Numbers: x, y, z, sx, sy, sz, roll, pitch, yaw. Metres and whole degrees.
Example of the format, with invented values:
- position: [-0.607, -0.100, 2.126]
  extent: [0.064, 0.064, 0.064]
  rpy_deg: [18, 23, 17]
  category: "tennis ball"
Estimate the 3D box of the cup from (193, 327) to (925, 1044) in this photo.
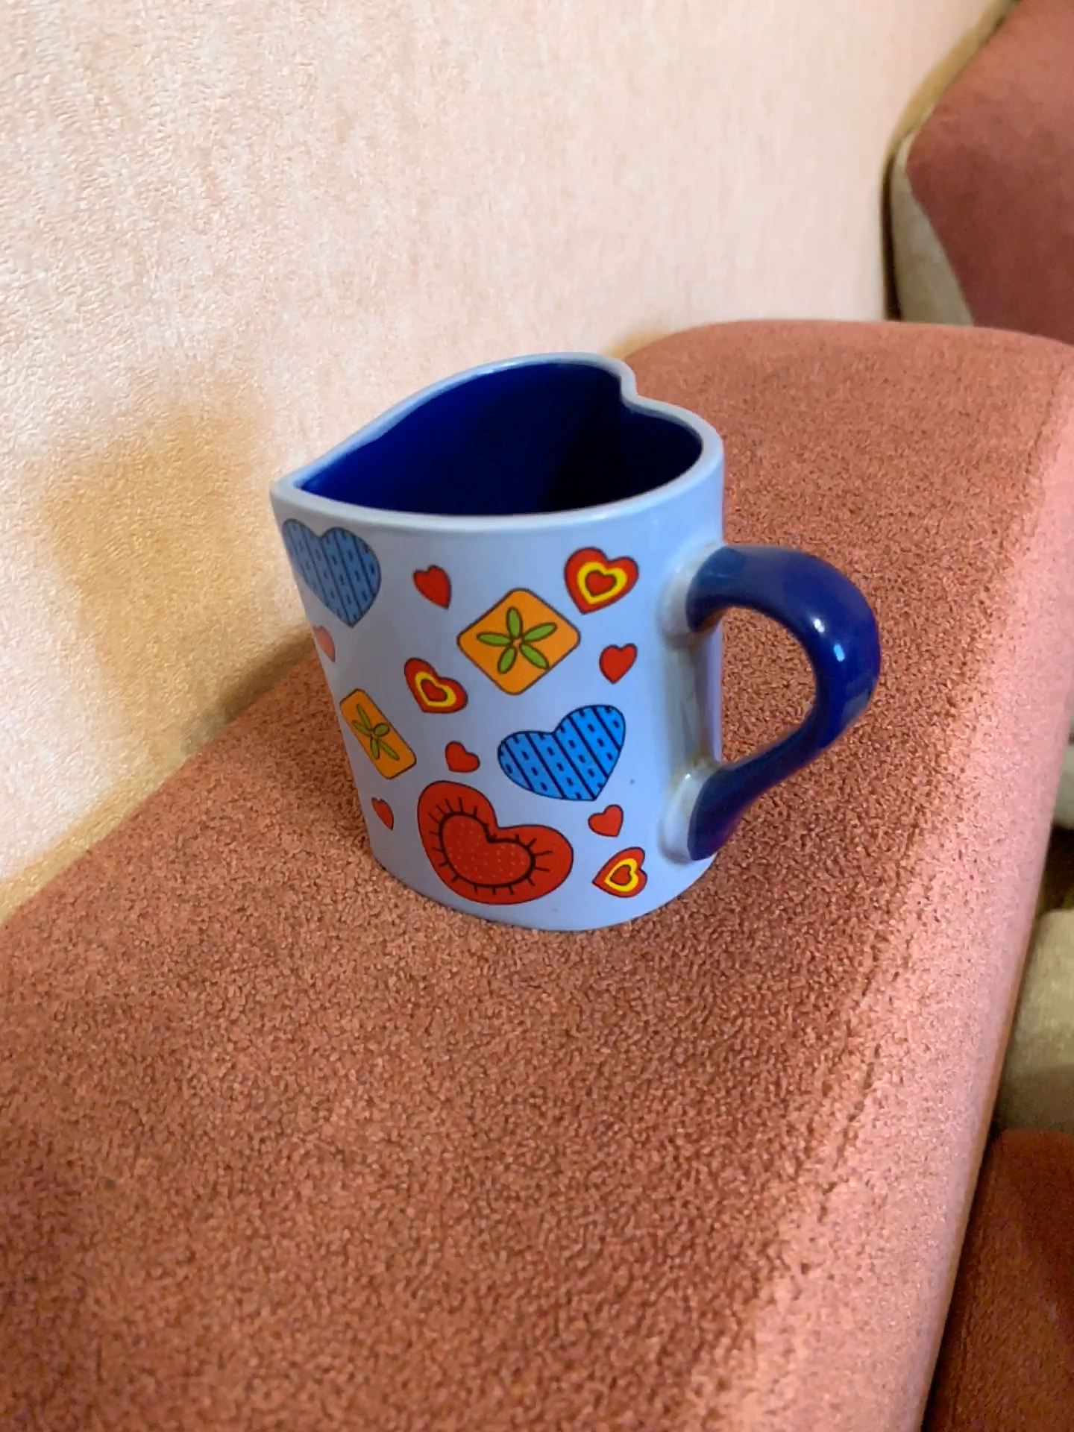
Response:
- position: [0.010, -0.014, 0.221]
  extent: [0.098, 0.089, 0.088]
  rpy_deg: [16, 42, 29]
  category: "cup"
